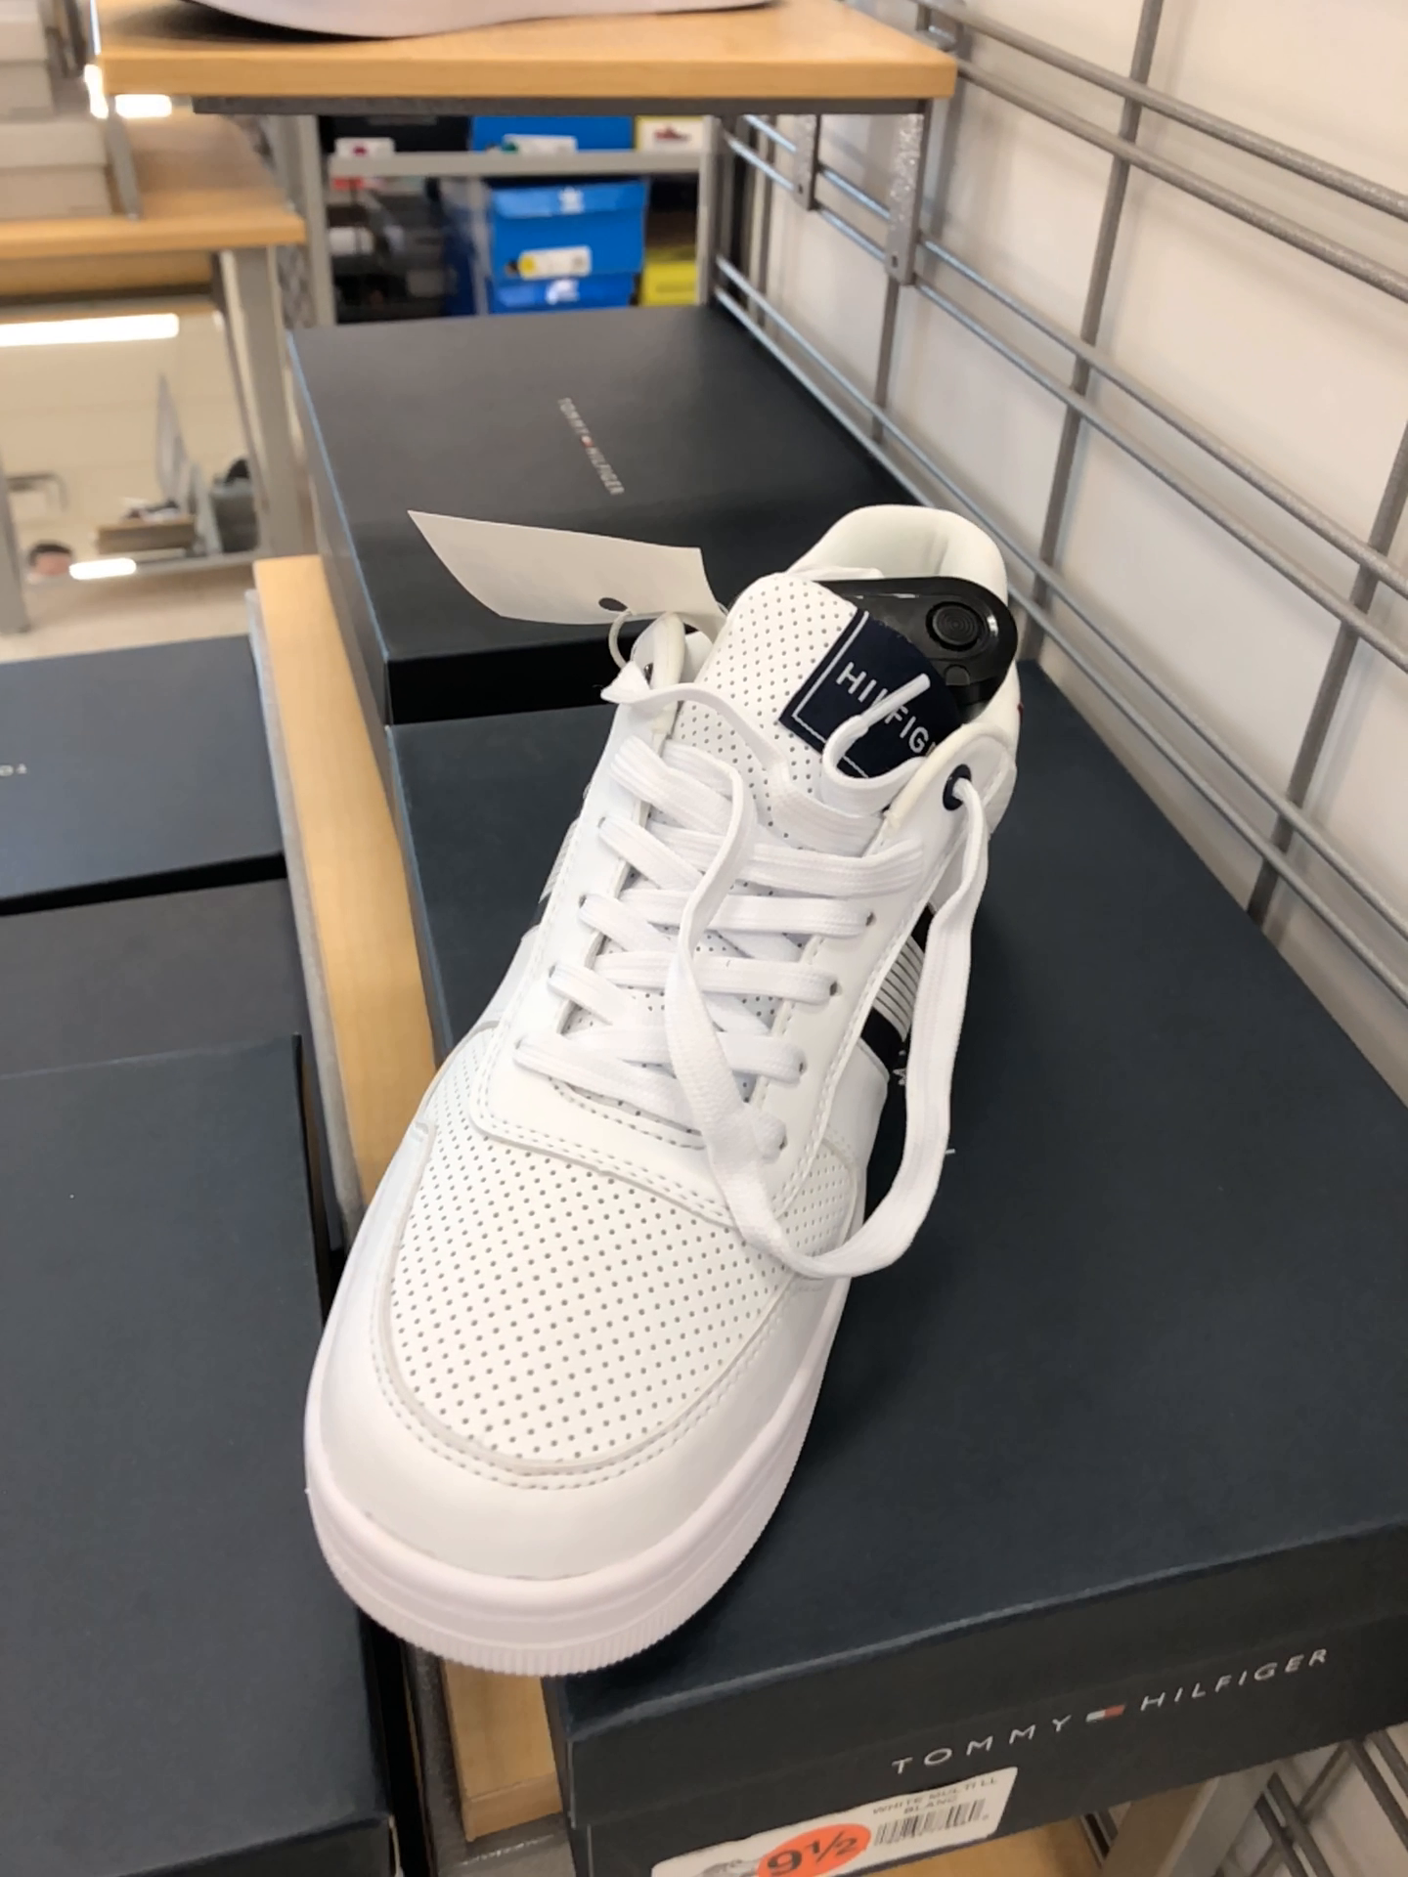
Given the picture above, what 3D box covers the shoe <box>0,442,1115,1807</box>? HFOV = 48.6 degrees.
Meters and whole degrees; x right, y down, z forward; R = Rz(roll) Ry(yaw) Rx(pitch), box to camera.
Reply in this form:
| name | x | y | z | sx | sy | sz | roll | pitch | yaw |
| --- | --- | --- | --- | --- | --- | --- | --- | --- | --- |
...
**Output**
| name | x | y | z | sx | sy | sz | roll | pitch | yaw |
| --- | --- | --- | --- | --- | --- | --- | --- | --- | --- |
| shoe | -0.001 | 0.003 | 0.338 | 0.110 | 0.109 | 0.282 | 16 | 40 | 15 |
